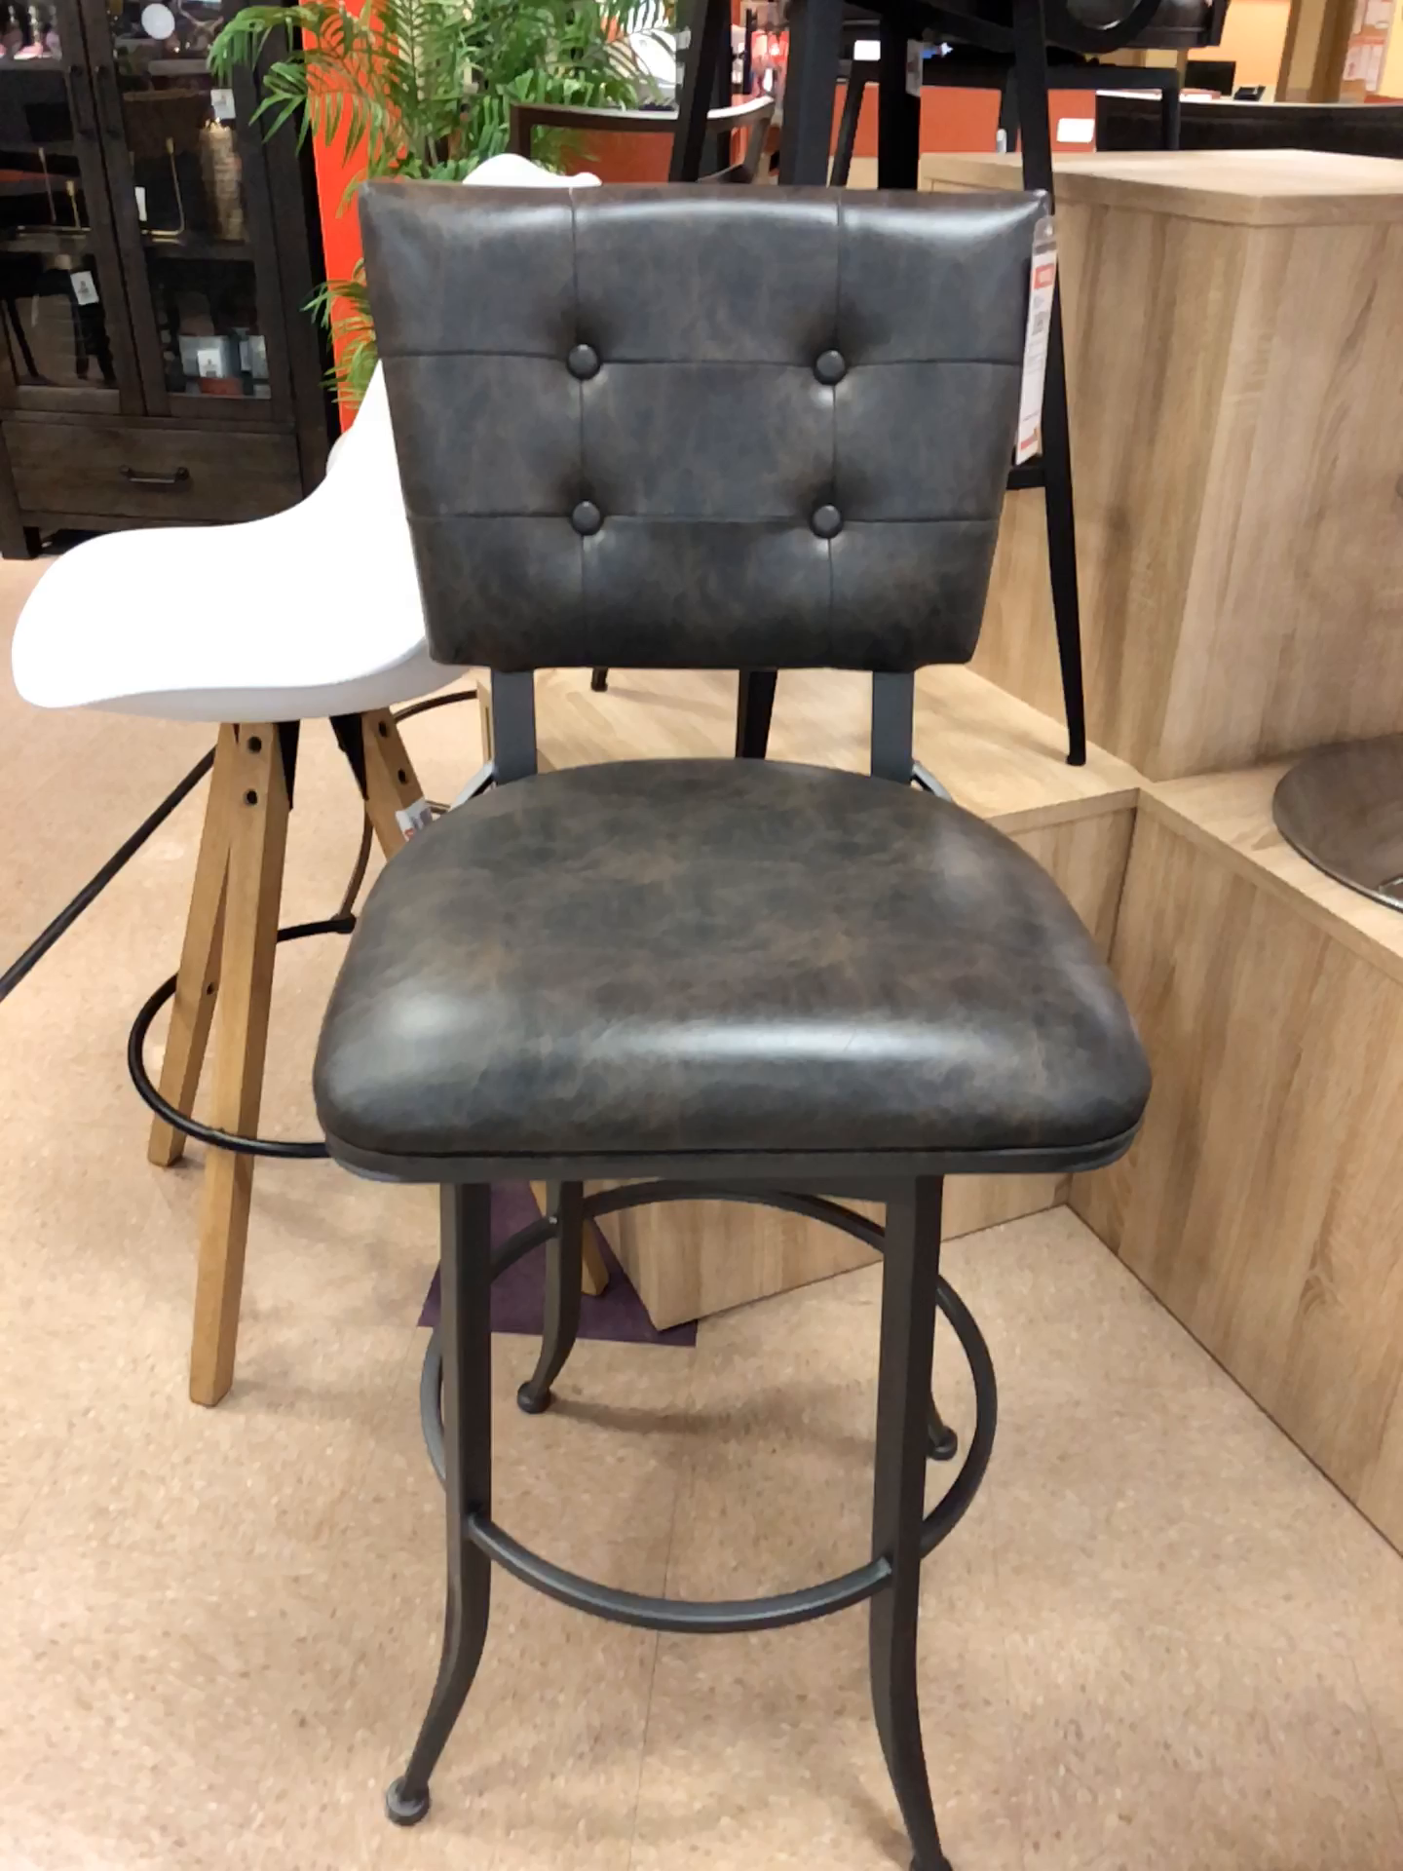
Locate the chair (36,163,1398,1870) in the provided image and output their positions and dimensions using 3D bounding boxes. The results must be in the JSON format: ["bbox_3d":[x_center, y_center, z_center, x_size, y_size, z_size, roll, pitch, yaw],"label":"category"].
[{"bbox_3d":[0.011,0.096,1.078,0.518,1.108,0.514,-1,30,0],"label":"chair"}]
